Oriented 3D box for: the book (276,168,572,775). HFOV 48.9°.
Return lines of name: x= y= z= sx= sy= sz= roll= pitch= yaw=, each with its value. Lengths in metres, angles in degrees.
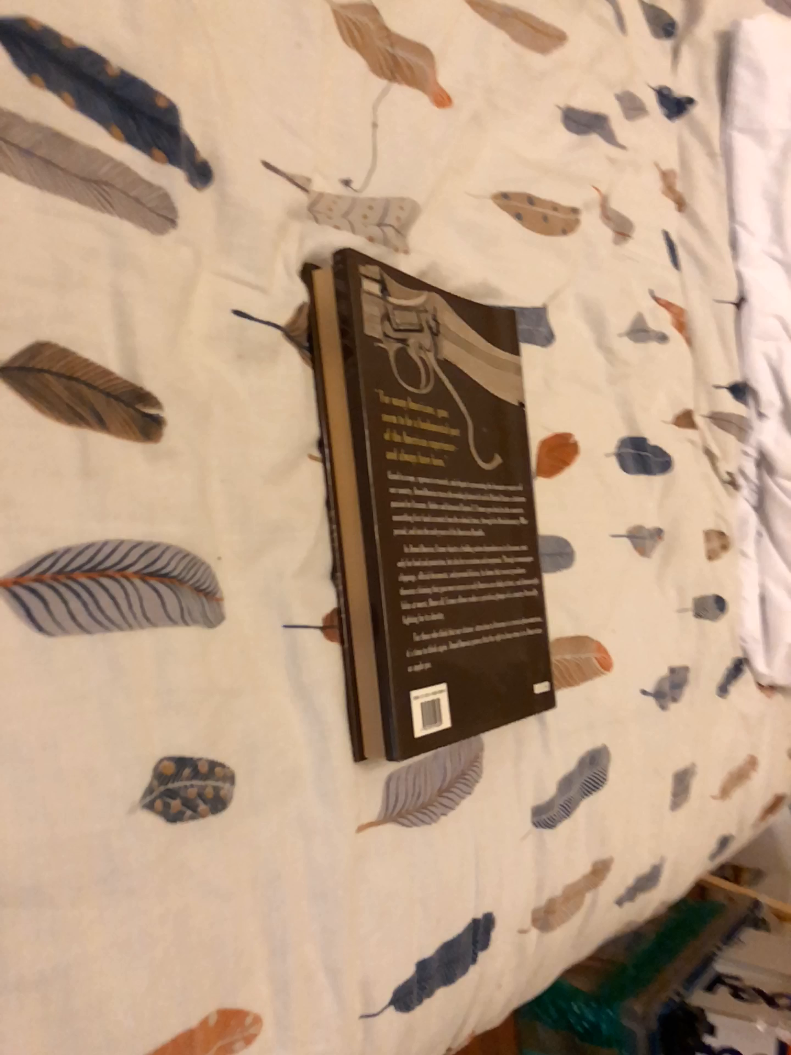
book: x=0.023 y=-0.022 z=0.422 sx=0.181 sy=0.030 sz=0.240 roll=1 pitch=84 yaw=-53
